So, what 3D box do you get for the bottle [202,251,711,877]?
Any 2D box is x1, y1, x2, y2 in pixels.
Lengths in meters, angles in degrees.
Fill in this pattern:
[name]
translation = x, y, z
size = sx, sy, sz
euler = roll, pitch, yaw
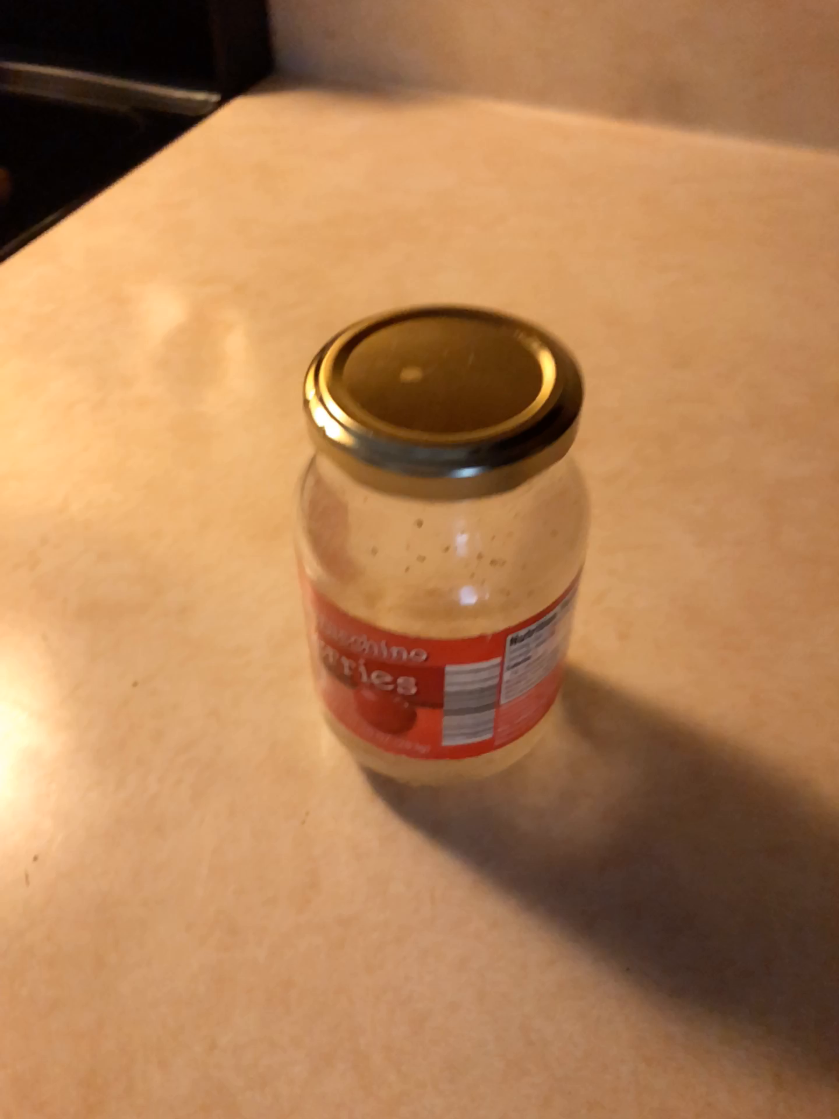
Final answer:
[bottle]
translation = 0.007, 0.003, 0.223
size = 0.070, 0.110, 0.070
euler = 0, 45, 0
